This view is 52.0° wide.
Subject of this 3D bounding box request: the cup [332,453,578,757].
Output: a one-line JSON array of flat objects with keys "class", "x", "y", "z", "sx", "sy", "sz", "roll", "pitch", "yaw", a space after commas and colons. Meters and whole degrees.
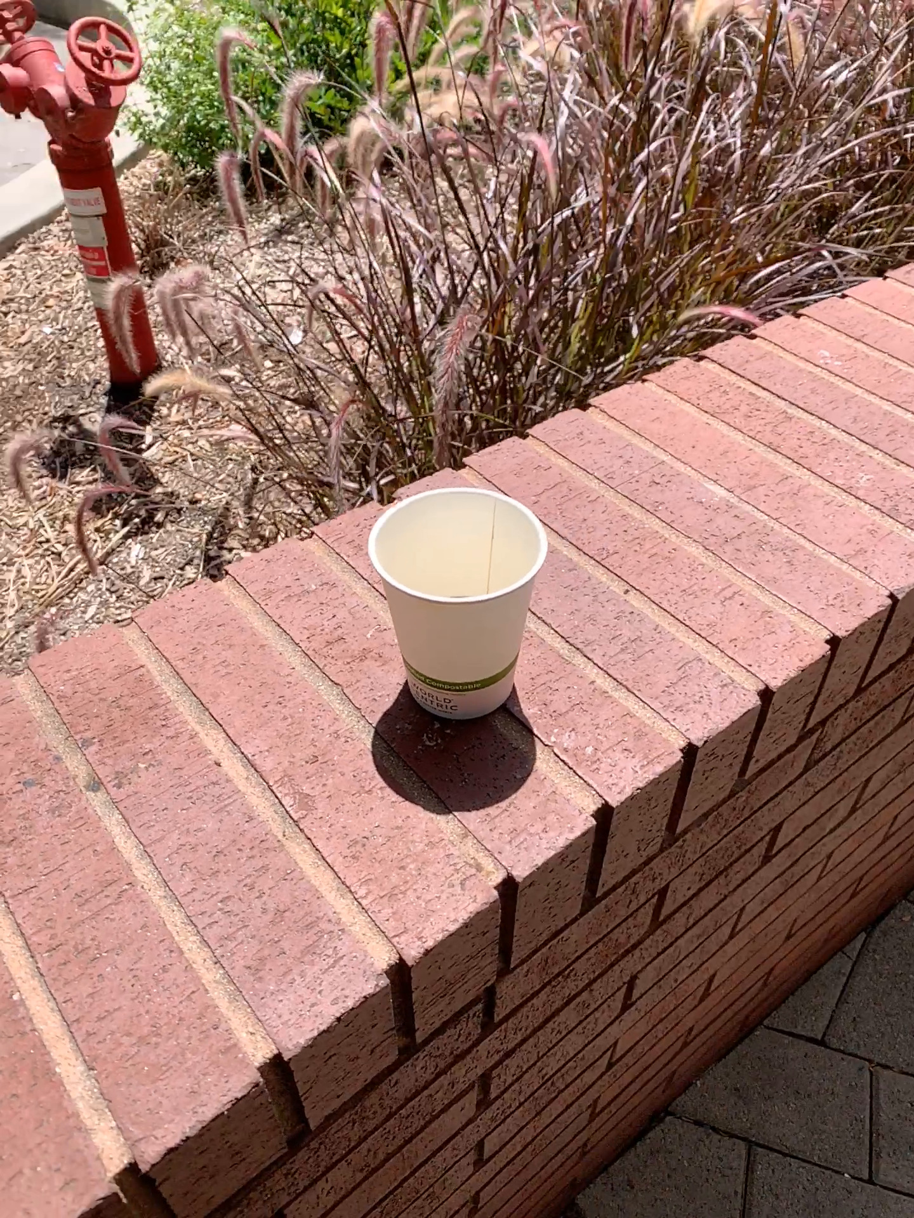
[{"class": "cup", "x": 0.001, "y": -0.003, "z": 0.506, "sx": 0.090, "sy": 0.109, "sz": 0.090, "roll": 0, "pitch": 44, "yaw": 0}]
